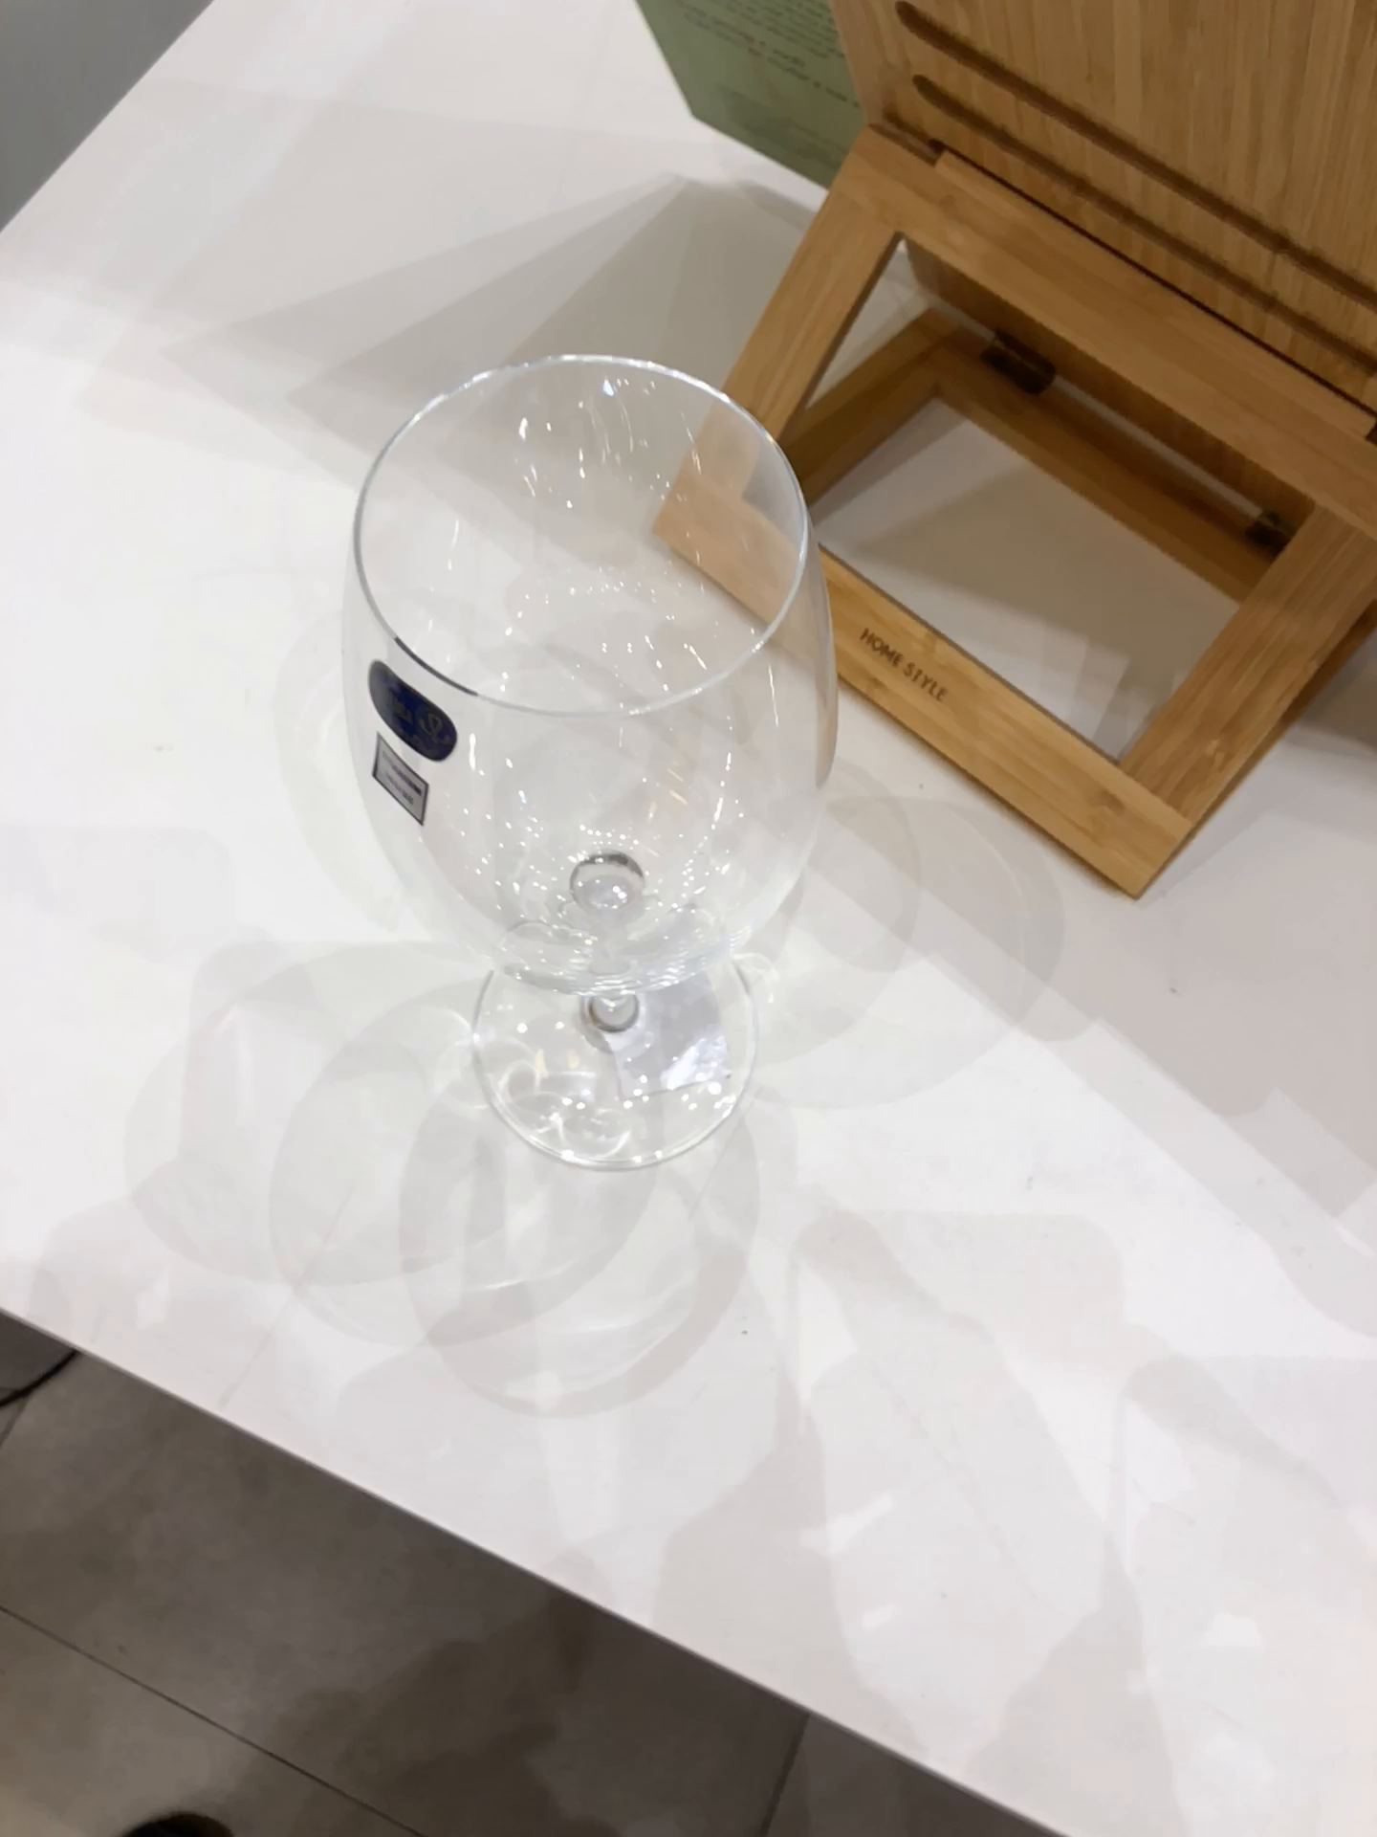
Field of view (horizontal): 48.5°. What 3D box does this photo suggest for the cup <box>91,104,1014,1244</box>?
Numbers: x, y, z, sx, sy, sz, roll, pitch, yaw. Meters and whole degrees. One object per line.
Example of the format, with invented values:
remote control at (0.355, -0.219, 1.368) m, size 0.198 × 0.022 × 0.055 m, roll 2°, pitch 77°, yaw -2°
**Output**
cup at (-0.020, -0.022, 0.327) m, size 0.100 × 0.239 × 0.090 m, roll 27°, pitch 67°, yaw 11°
